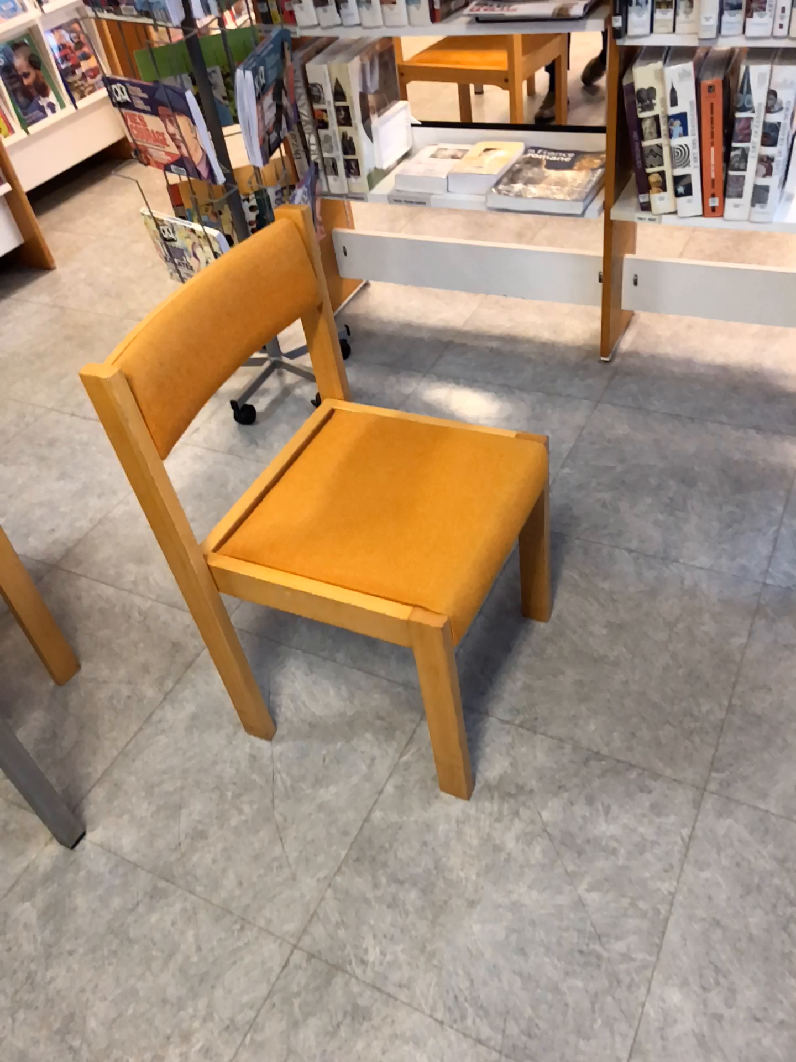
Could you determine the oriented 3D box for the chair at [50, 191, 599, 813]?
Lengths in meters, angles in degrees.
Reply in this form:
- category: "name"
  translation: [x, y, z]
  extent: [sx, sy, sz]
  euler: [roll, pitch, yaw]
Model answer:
- category: "chair"
  translation: [-0.028, -0.062, 1.363]
  extent: [0.520, 0.696, 0.553]
  euler: [13, 47, 24]
